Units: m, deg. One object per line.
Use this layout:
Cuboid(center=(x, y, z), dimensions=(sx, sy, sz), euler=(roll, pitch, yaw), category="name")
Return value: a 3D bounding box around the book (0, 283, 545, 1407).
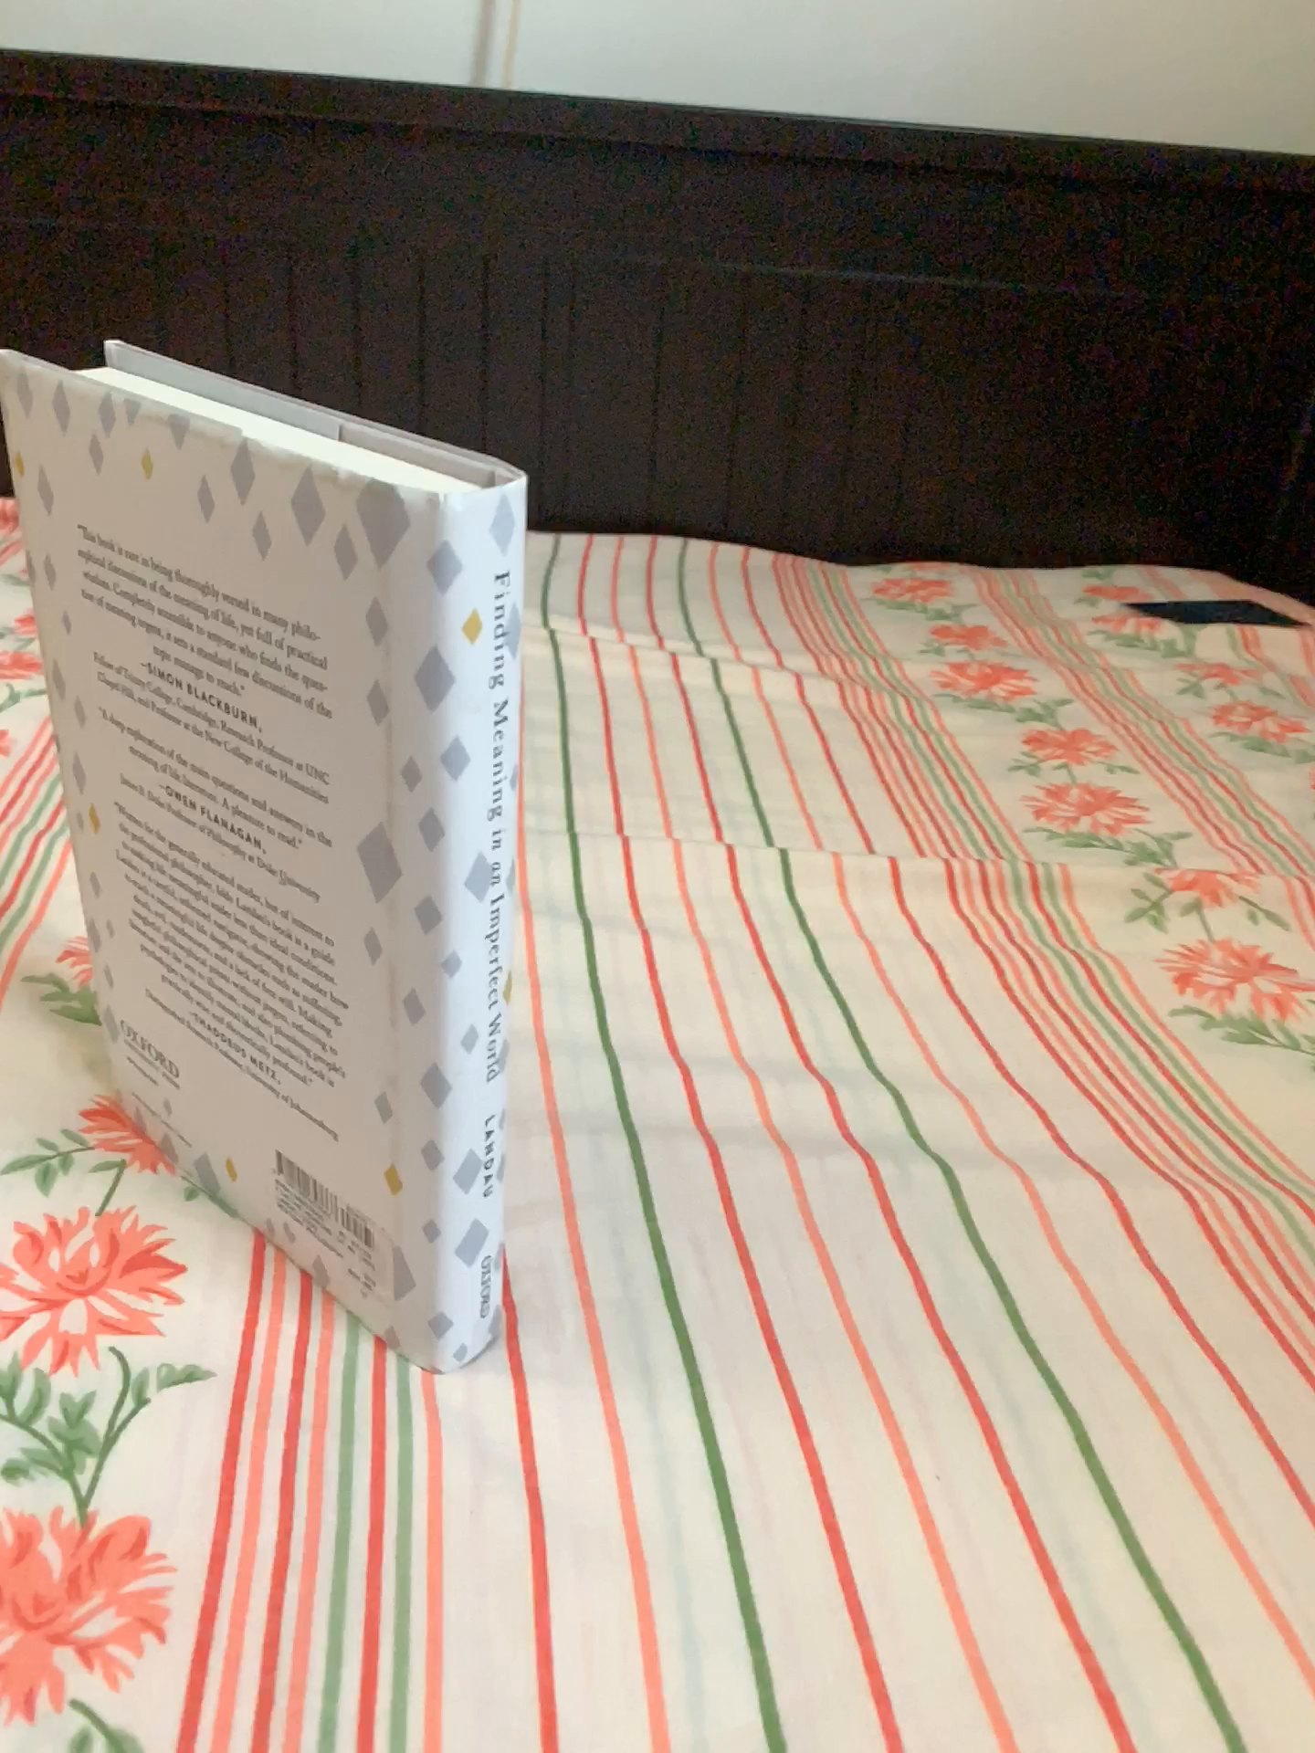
Cuboid(center=(-0.095, -0.008, 0.314), dimensions=(0.160, 0.218, 0.030), euler=(26, 36, 34), category="book")
